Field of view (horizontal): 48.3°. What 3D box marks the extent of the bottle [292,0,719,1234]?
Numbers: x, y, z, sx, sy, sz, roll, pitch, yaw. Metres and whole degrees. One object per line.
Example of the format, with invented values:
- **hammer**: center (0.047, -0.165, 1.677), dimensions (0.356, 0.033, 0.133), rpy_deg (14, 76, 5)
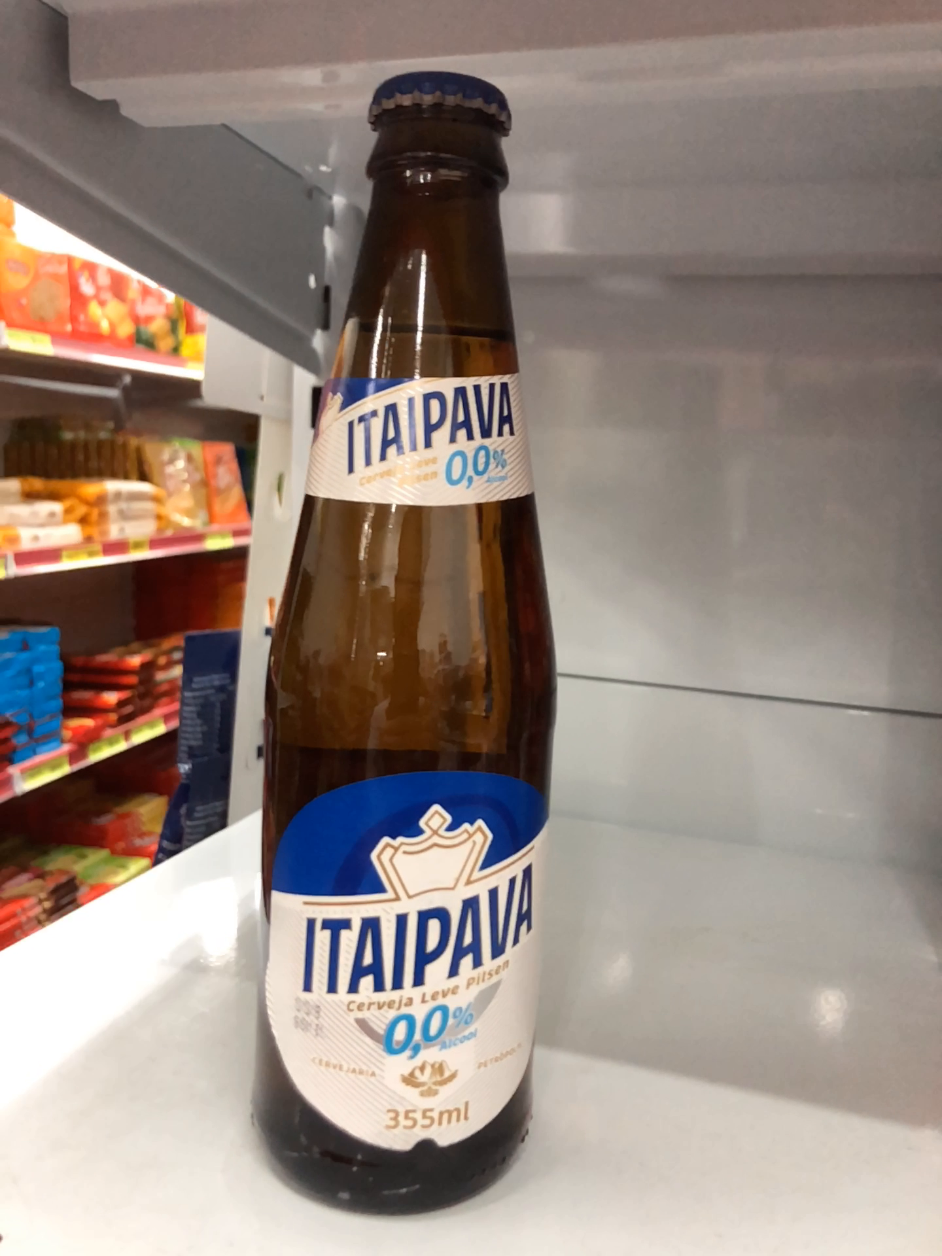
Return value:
- **bottle**: center (-0.001, -0.005, 0.198), dimensions (0.060, 0.209, 0.060), rpy_deg (2, 8, 0)
